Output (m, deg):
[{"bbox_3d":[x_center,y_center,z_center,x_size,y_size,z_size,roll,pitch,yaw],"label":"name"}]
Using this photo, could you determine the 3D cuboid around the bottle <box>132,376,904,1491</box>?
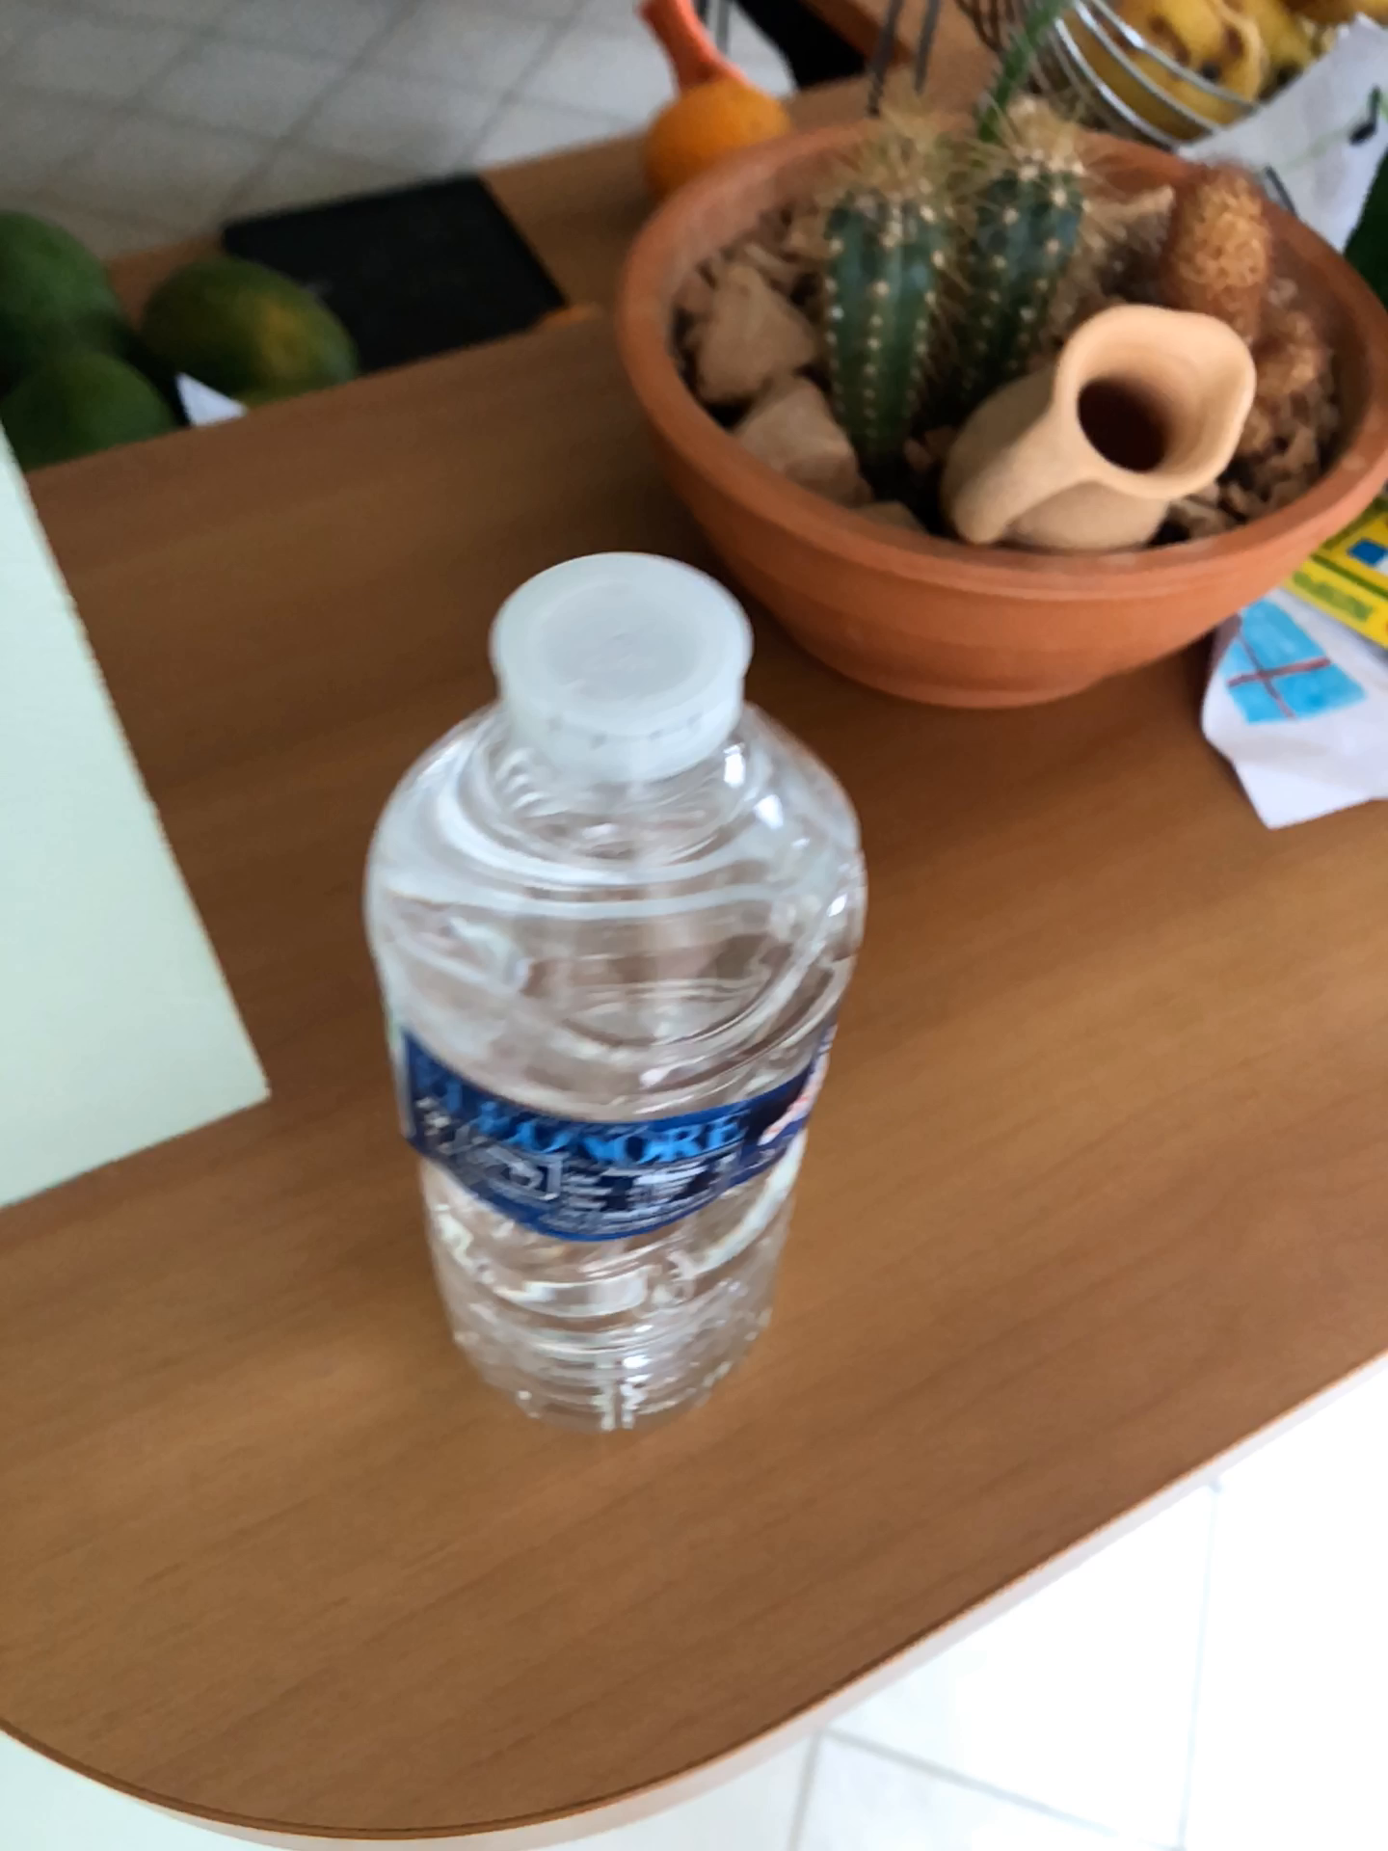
[{"bbox_3d":[-0.018,0.021,0.245,0.070,0.189,0.070,1,54,-2],"label":"bottle"}]
